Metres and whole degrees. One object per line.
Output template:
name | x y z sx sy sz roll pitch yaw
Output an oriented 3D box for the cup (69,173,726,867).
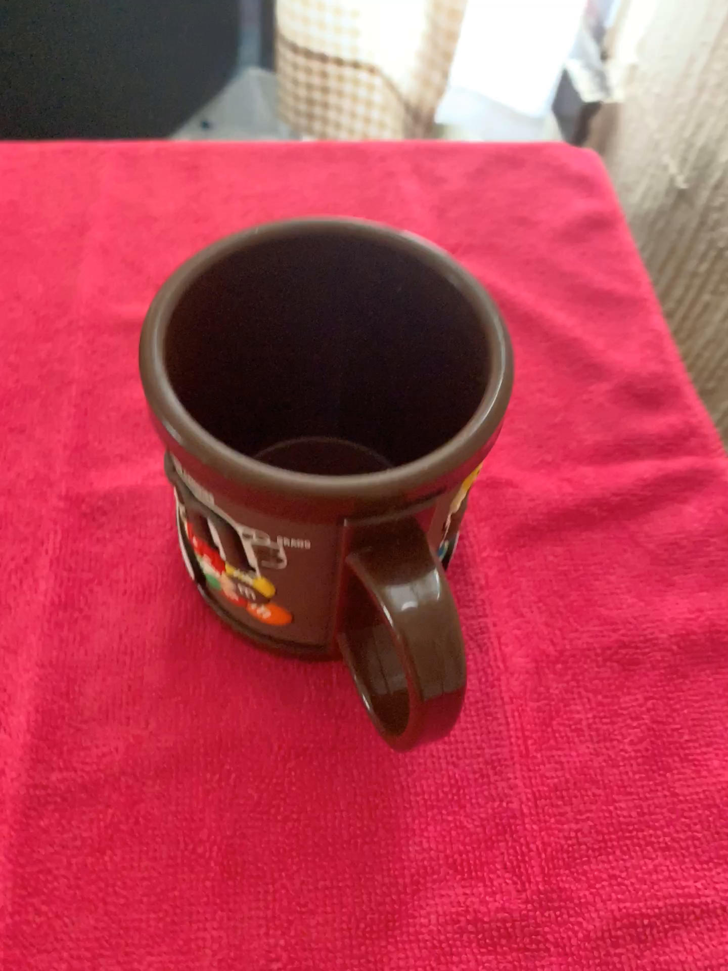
cup | -0.005 0.009 0.191 0.090 0.099 0.121 -16 60 -15
